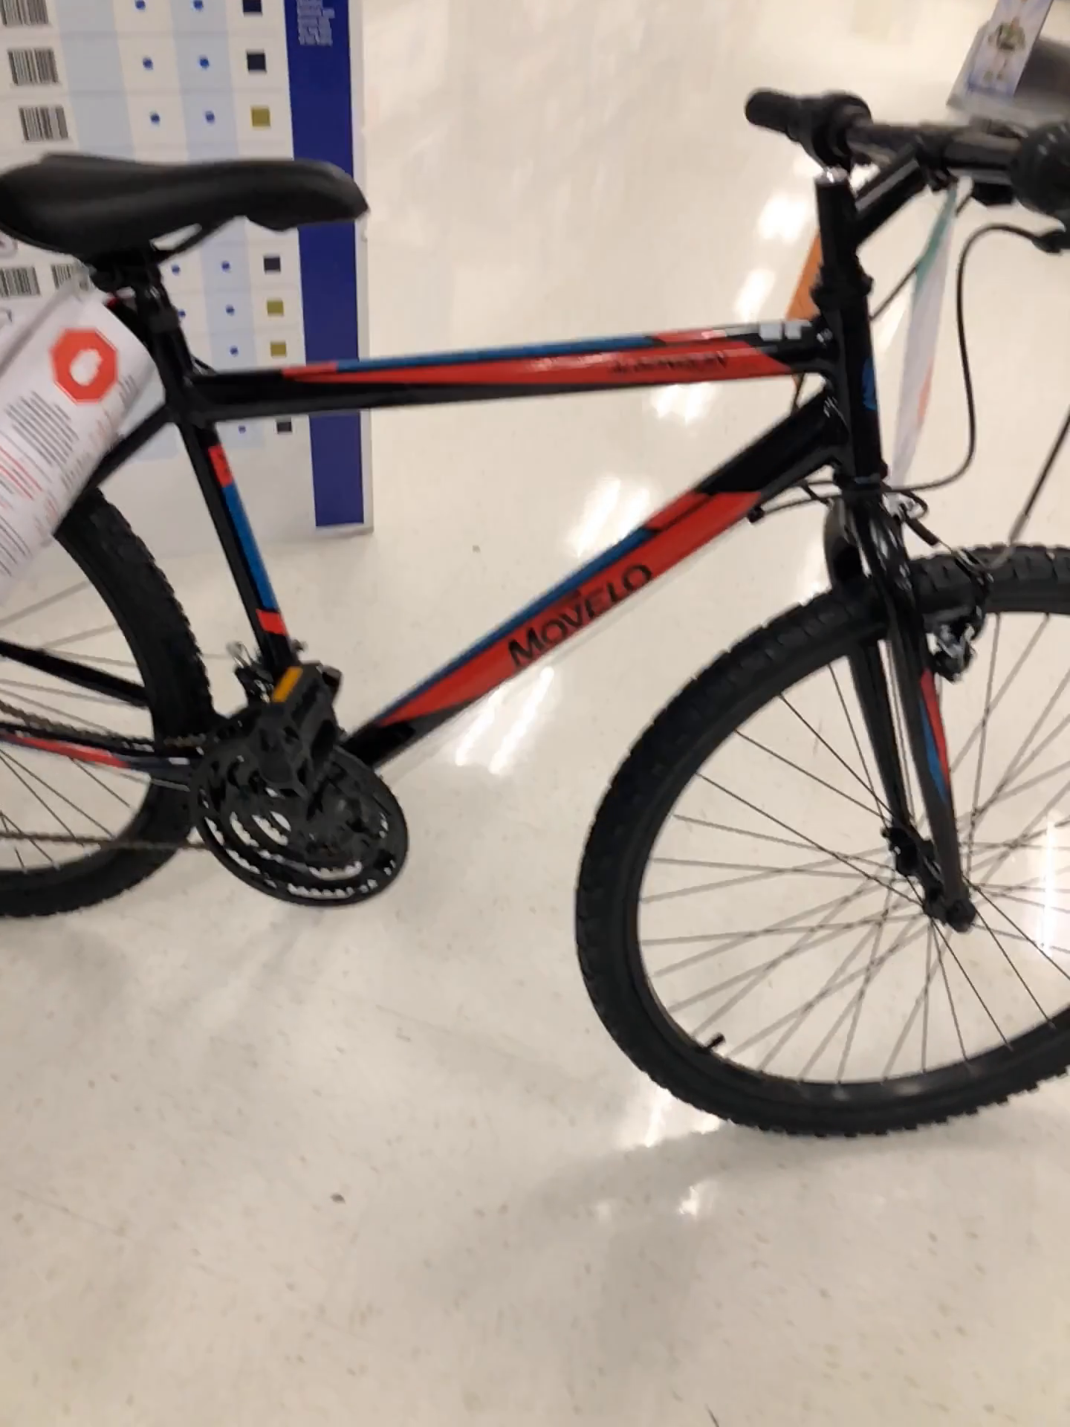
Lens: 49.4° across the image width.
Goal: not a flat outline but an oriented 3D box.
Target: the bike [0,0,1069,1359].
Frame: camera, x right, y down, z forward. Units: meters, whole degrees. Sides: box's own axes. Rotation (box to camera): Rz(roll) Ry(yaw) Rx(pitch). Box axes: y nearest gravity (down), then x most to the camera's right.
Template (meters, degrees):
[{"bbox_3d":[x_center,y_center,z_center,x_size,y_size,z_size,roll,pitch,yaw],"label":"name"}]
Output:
[{"bbox_3d":[0.058,-0.079,0.951,1.285,0.942,0.562,9,44,5],"label":"bike"}]
